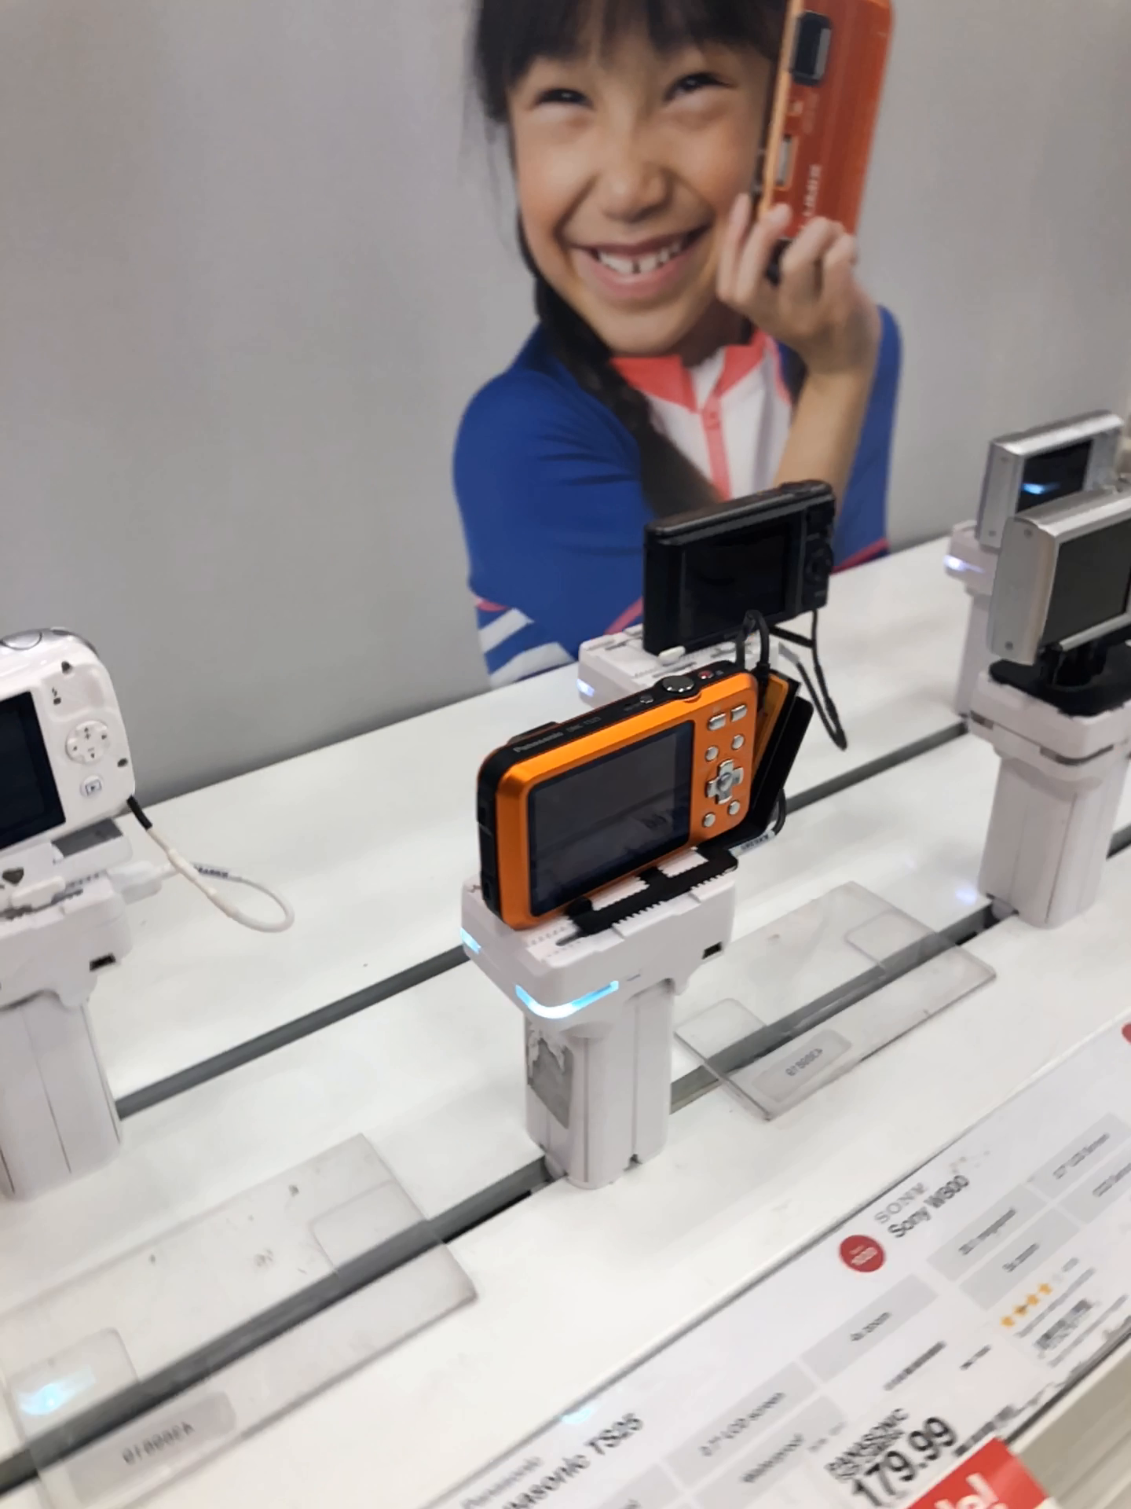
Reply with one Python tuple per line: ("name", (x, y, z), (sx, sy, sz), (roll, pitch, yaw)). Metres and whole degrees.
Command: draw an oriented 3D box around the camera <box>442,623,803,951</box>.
("camera", (0.021, 0.007, 0.382), (0.120, 0.060, 0.020), (-22, 37, -31))
